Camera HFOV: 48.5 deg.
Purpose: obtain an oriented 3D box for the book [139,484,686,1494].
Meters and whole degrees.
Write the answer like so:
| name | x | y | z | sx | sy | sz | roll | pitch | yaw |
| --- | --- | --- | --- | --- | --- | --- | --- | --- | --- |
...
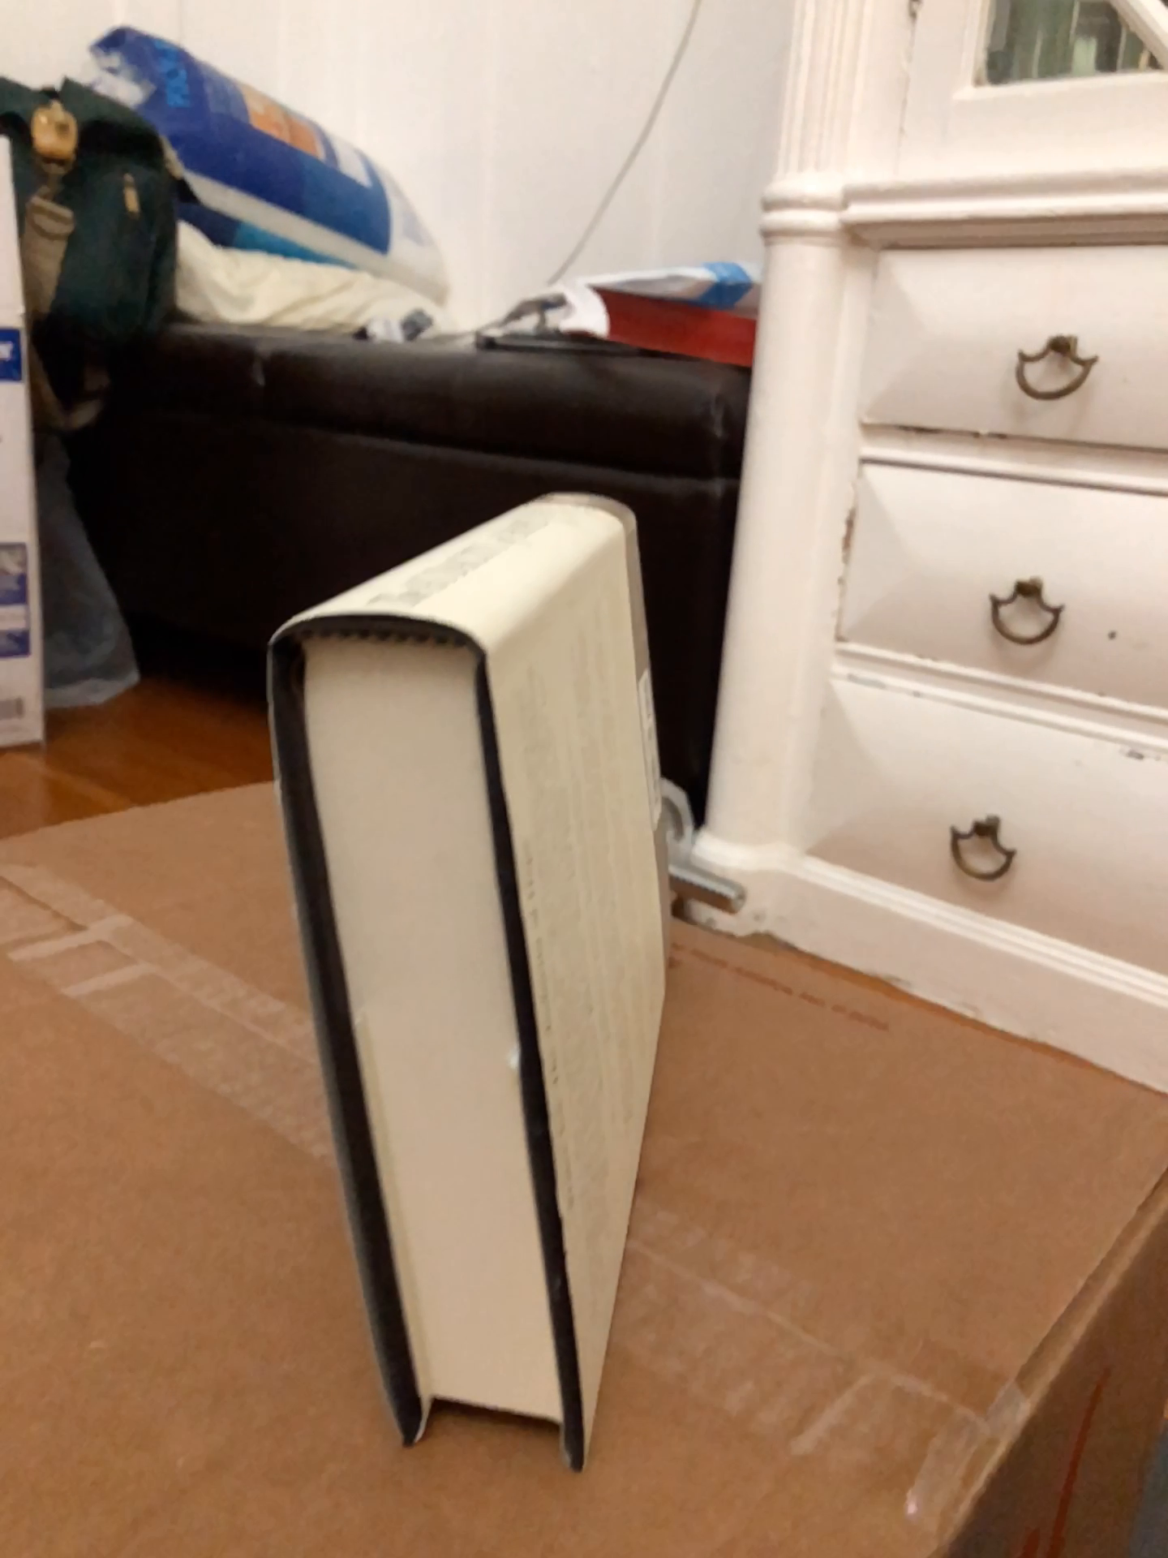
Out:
| name | x | y | z | sx | sy | sz | roll | pitch | yaw |
| --- | --- | --- | --- | --- | --- | --- | --- | --- | --- |
| book | -0.016 | 0.017 | 0.340 | 0.060 | 0.169 | 0.251 | -5 | 14 | 8 |
